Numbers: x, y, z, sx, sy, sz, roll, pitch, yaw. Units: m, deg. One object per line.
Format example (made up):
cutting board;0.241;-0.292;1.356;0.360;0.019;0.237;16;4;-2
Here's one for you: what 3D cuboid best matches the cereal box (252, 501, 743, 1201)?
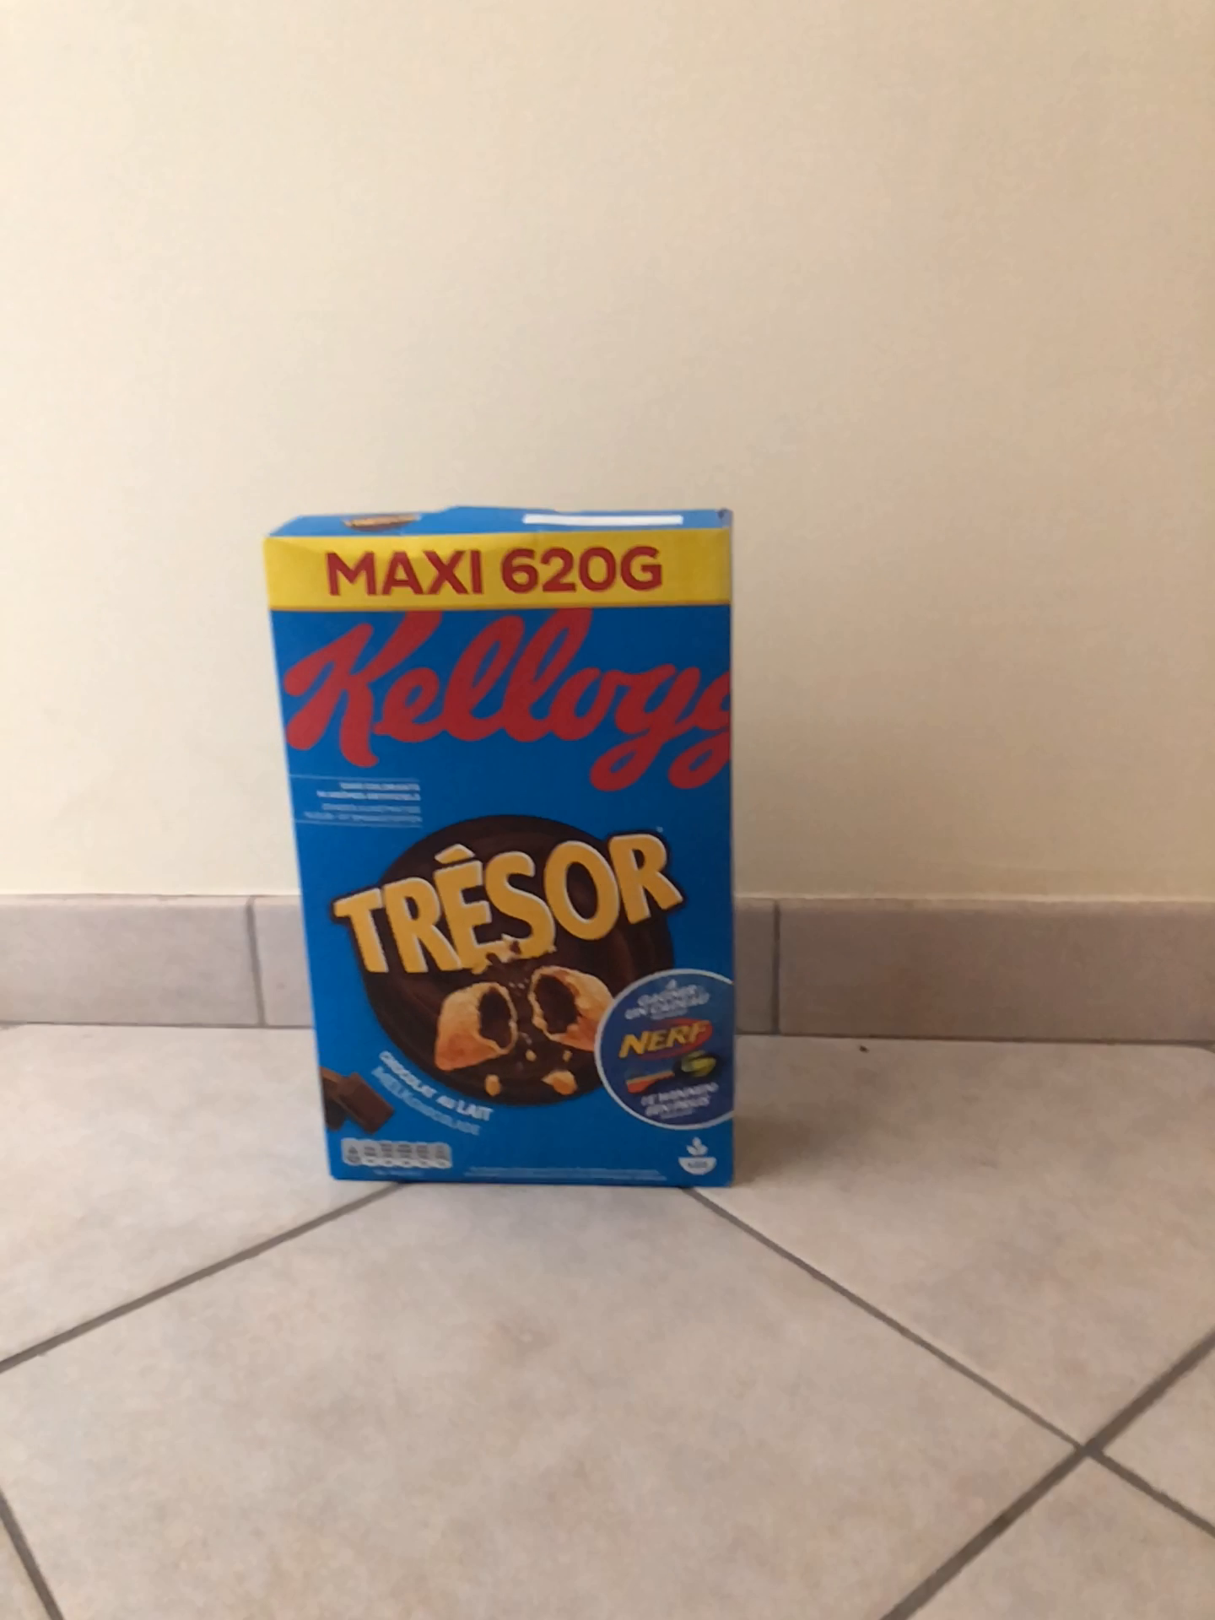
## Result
cereal box;-0.036;0.022;0.593;0.190;0.299;0.070;0;18;6
